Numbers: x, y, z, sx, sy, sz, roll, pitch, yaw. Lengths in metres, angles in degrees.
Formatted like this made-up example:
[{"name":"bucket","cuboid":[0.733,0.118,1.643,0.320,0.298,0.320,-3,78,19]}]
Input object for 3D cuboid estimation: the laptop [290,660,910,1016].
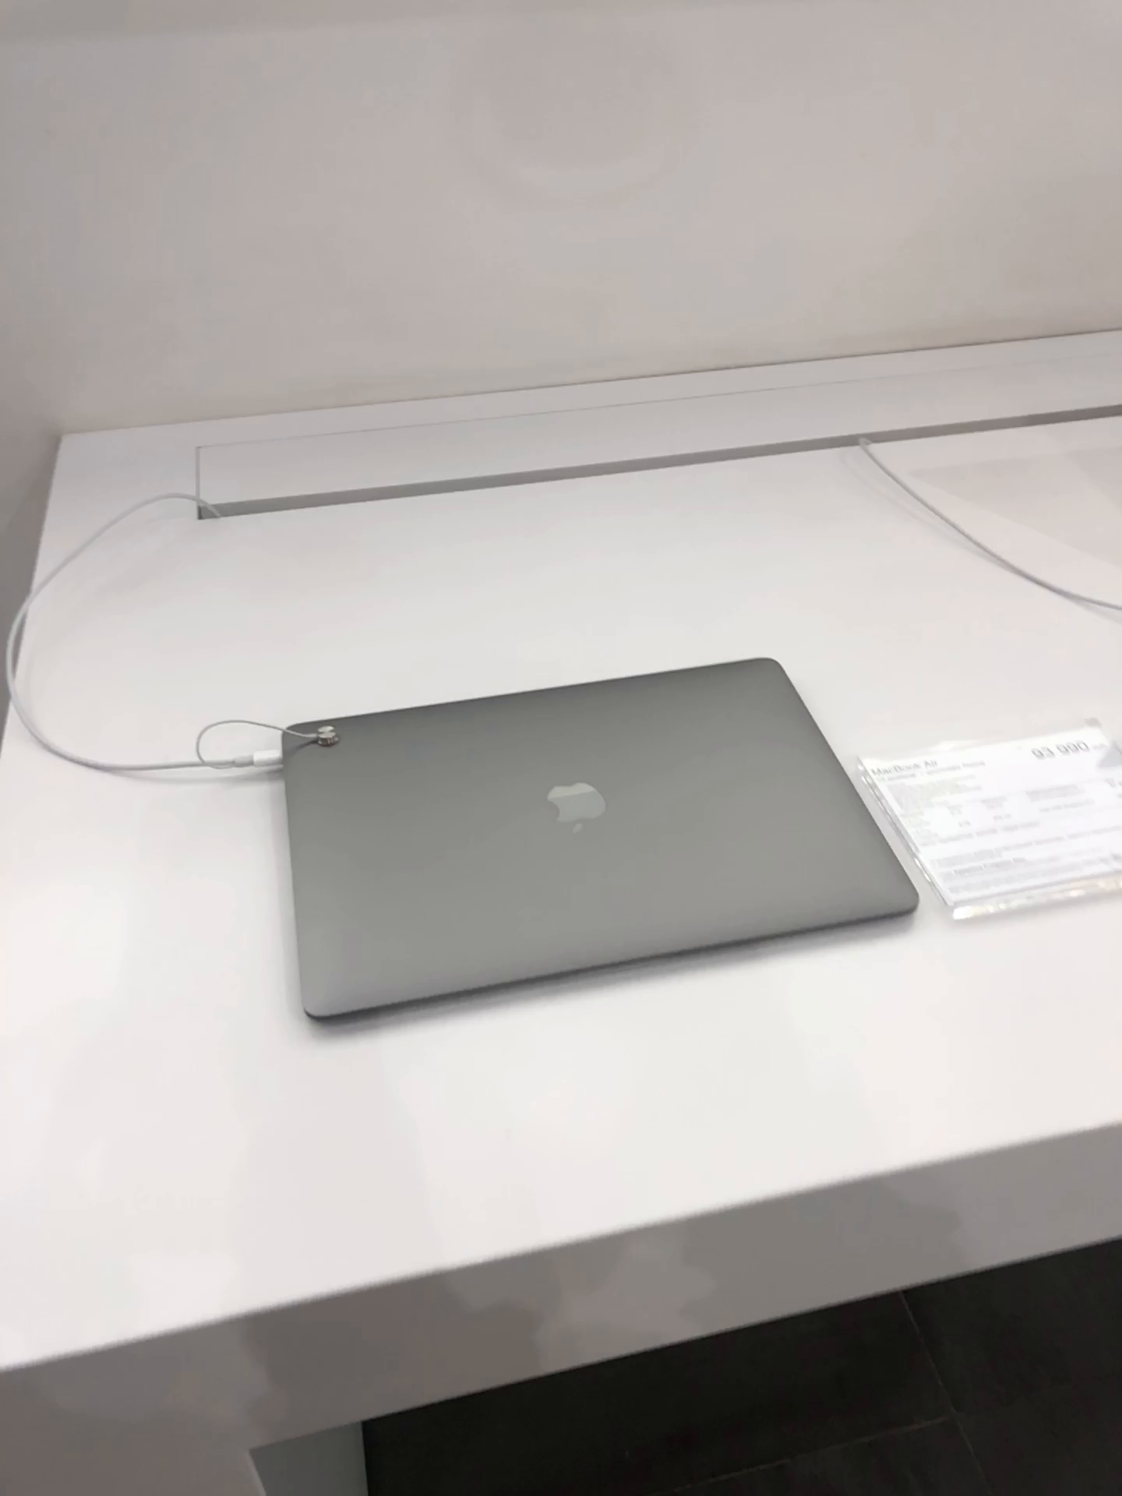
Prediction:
[{"name":"laptop","cuboid":[0.008,0.035,0.663,0.292,0.006,0.205,-9,42,-9]}]
